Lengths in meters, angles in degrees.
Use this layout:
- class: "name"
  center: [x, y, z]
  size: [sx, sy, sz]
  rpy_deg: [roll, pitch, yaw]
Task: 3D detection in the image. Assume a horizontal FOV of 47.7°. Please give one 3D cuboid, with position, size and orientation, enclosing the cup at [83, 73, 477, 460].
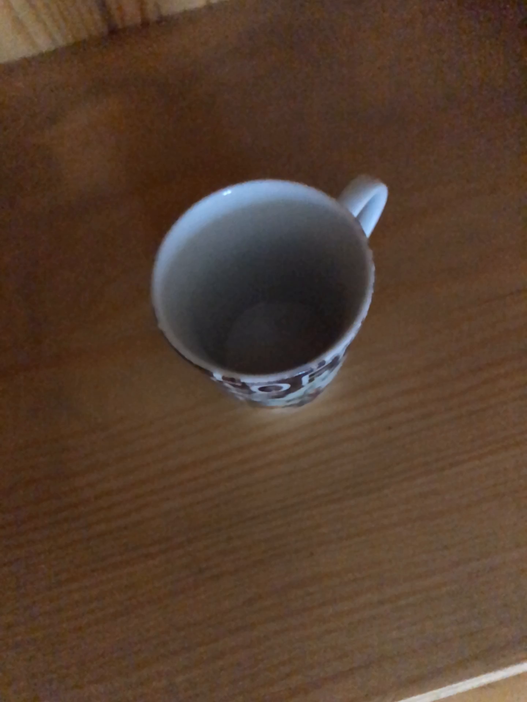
- class: "cup"
  center: [0.006, -0.020, 0.183]
  size: [0.080, 0.070, 0.060]
  rpy_deg: [-34, 70, -7]
